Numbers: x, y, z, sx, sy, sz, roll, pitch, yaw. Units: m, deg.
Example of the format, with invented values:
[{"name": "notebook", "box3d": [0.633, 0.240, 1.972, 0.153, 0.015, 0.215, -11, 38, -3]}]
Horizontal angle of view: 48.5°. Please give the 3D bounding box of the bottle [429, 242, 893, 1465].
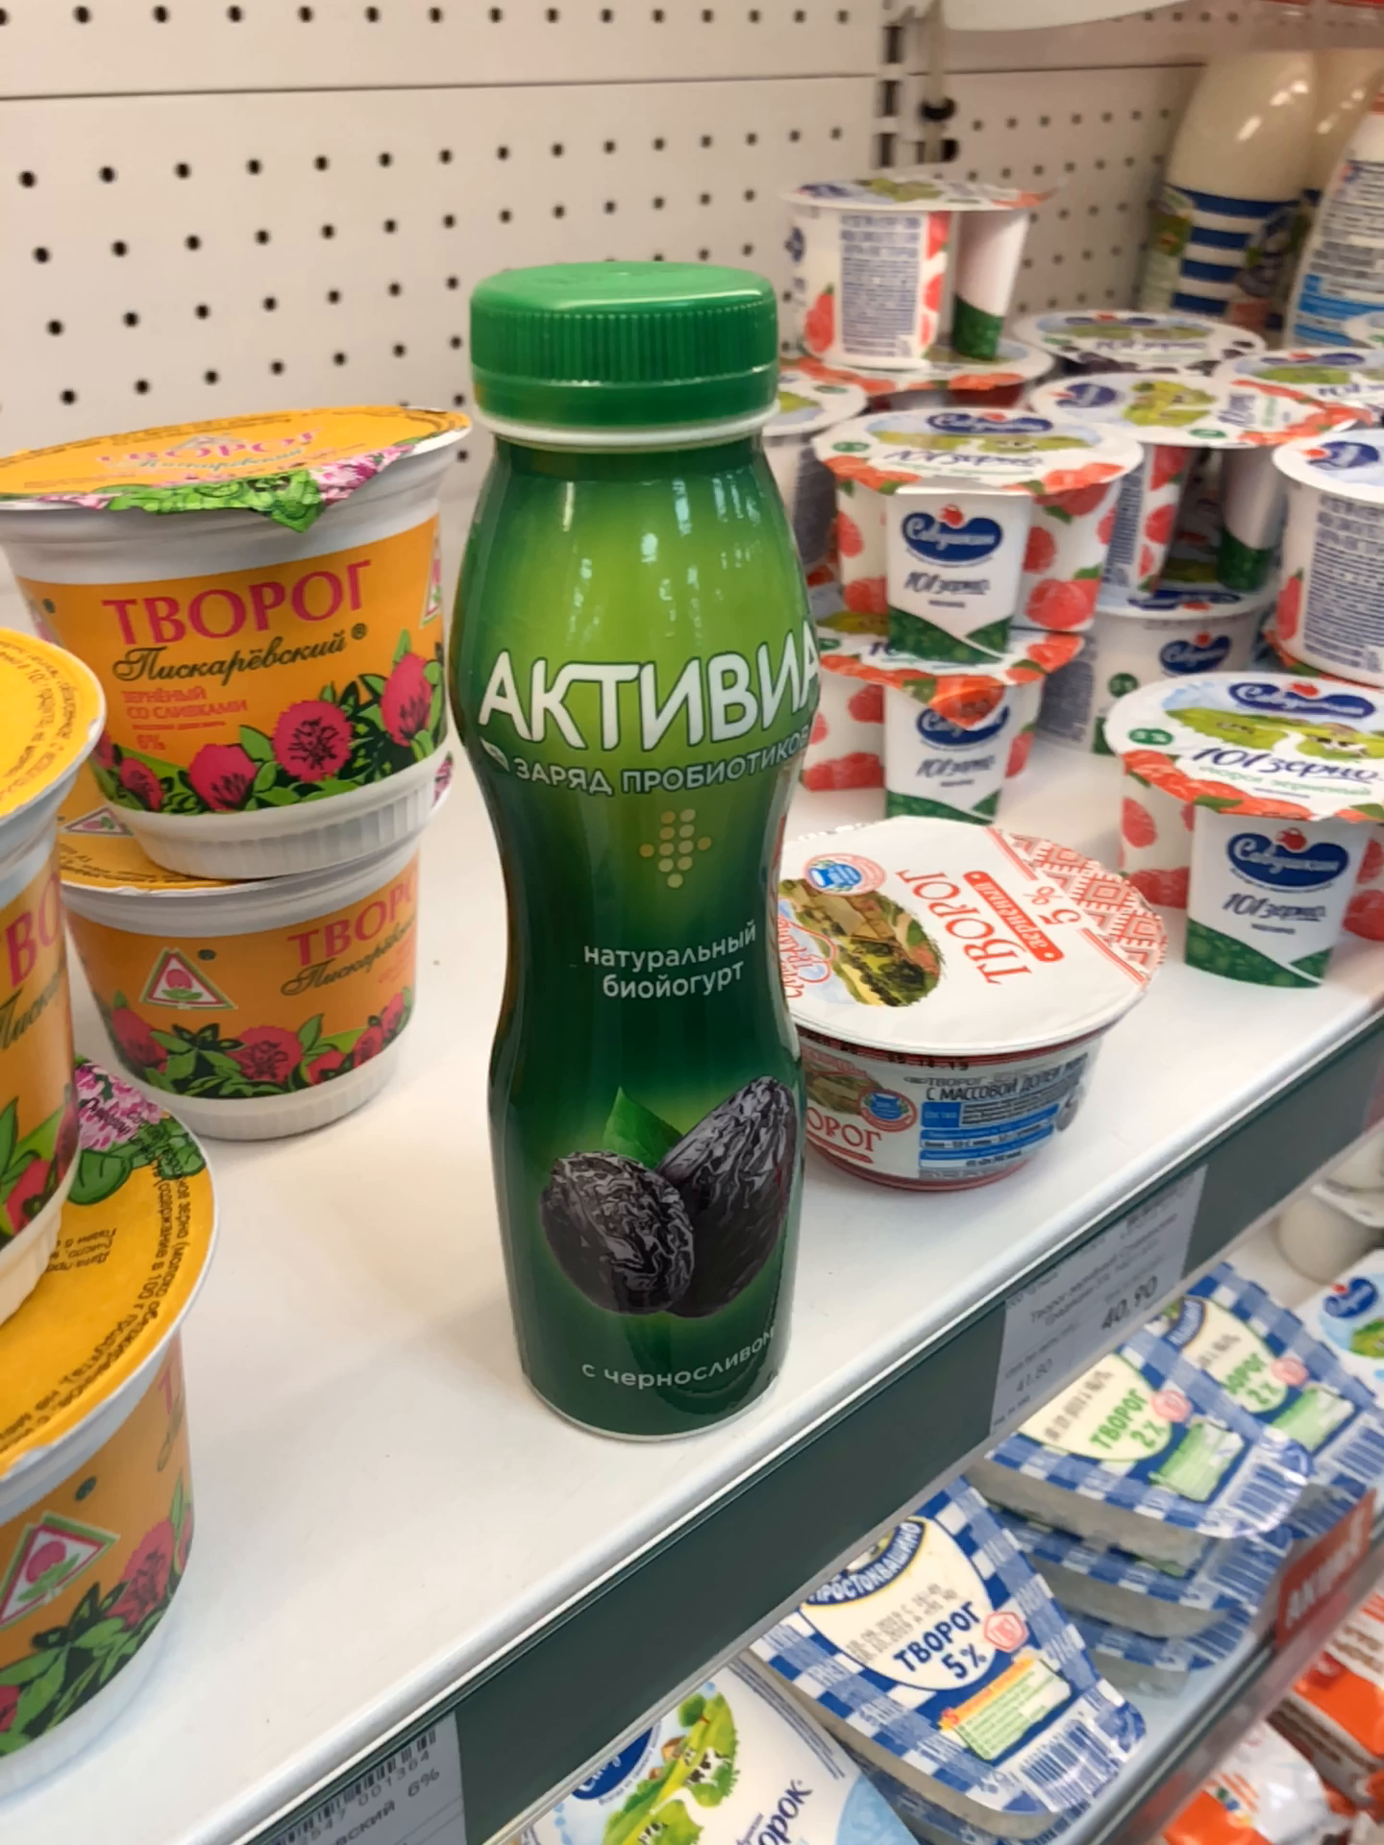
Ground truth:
[{"name": "bottle", "box3d": [-0.008, -0.003, 0.242, 0.050, 0.185, 0.054, 0, 31, 0]}]
